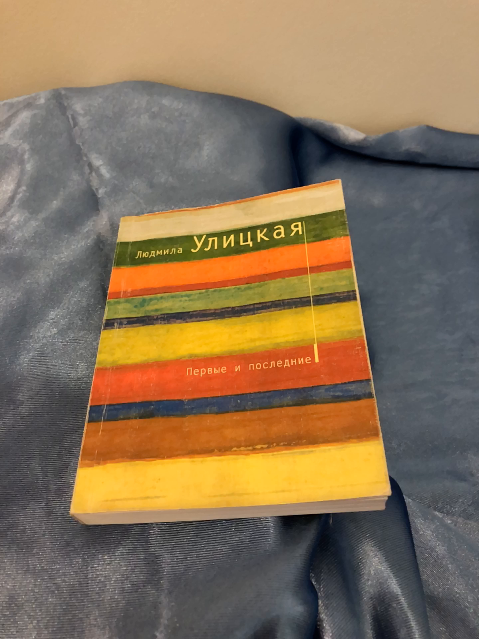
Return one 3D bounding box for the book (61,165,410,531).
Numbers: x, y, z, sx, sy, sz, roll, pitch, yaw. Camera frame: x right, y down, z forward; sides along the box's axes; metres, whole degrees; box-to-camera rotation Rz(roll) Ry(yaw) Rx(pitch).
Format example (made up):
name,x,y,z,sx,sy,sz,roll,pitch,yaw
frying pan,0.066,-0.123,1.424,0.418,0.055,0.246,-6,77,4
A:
name,x,y,z,sx,sy,sz,roll,pitch,yaw
book,-0.003,0.005,0.249,0.129,0.026,0.167,-7,55,10
